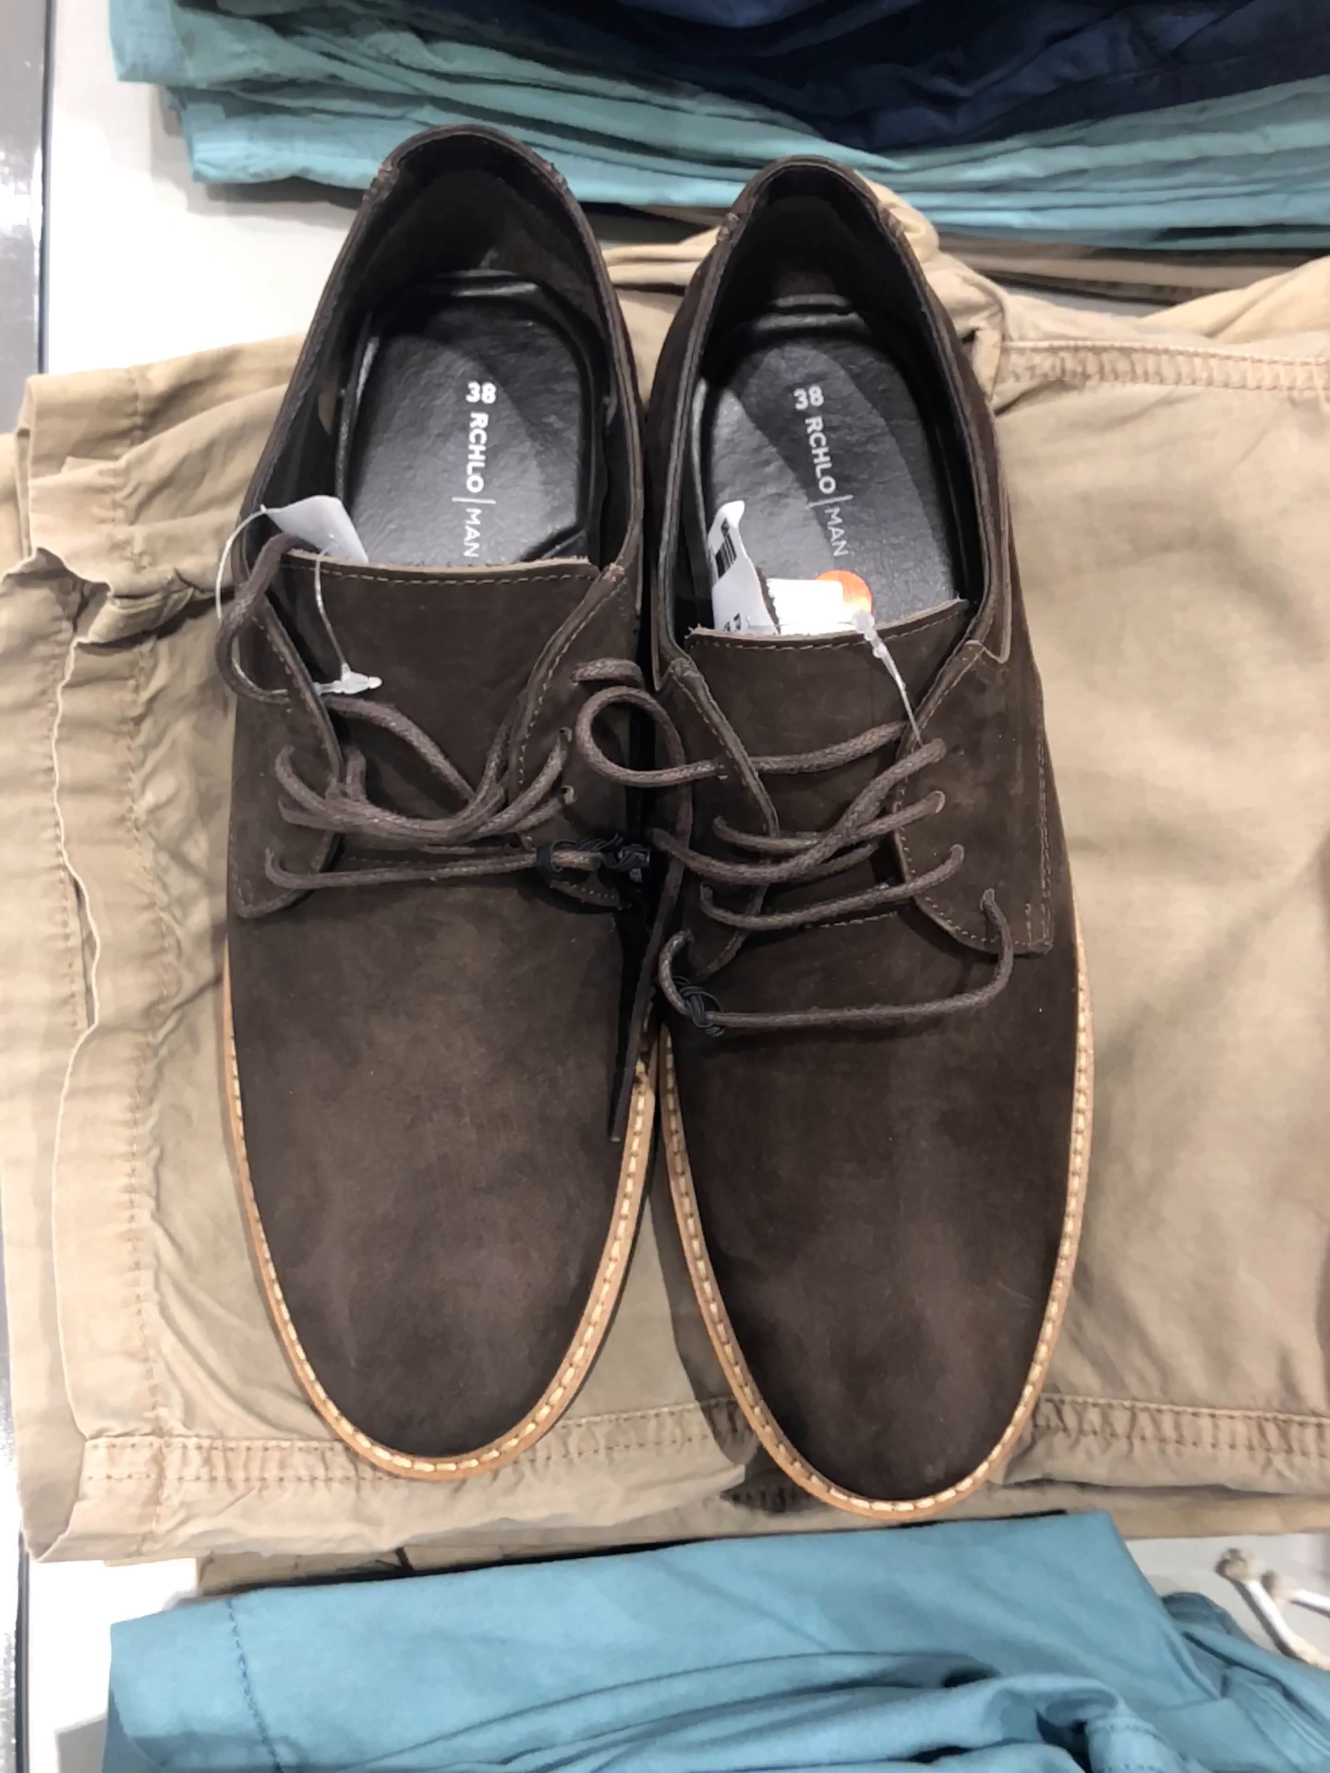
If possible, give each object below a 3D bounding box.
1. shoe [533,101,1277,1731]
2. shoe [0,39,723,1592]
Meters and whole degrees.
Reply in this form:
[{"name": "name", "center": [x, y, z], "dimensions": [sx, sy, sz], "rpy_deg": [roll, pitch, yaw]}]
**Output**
[{"name": "shoe", "center": [0.039, 0.005, 0.296], "dimensions": [0.100, 0.110, 0.260], "rpy_deg": [-4, 84, 4]}, {"name": "shoe", "center": [-0.051, -0.013, 0.307], "dimensions": [0.110, 0.110, 0.260], "rpy_deg": [3, 87, 0]}]
